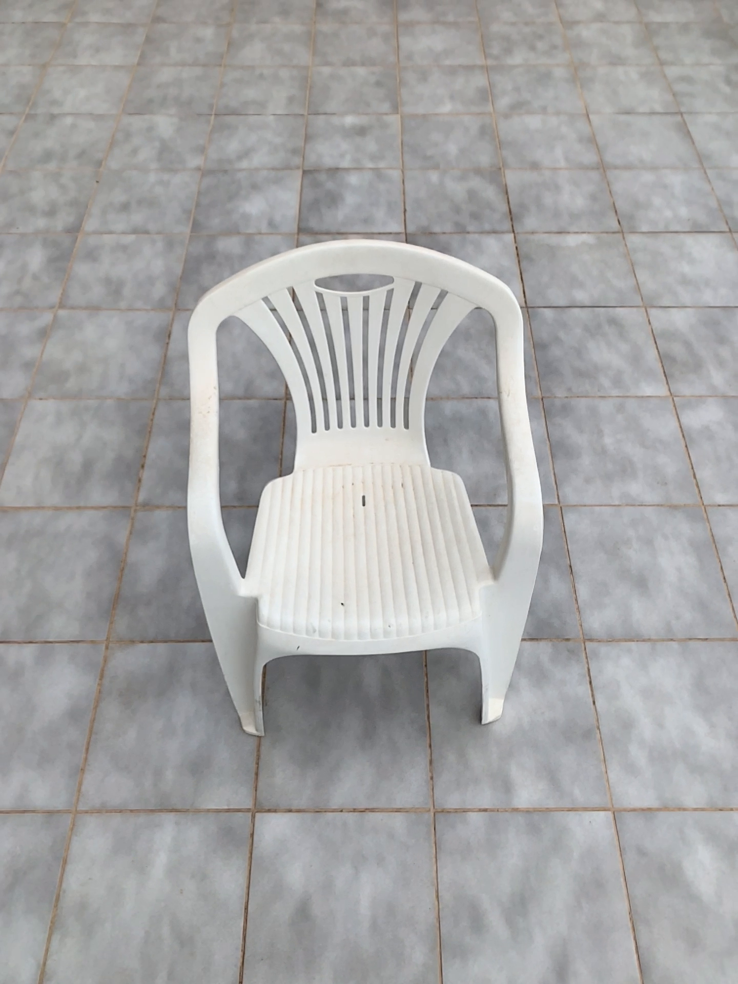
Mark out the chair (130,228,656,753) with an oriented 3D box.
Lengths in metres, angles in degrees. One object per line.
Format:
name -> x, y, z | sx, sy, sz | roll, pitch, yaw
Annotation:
chair -> 0.007, 0.034, 1.250 | 0.570, 0.668, 0.562 | -3, 56, -3
